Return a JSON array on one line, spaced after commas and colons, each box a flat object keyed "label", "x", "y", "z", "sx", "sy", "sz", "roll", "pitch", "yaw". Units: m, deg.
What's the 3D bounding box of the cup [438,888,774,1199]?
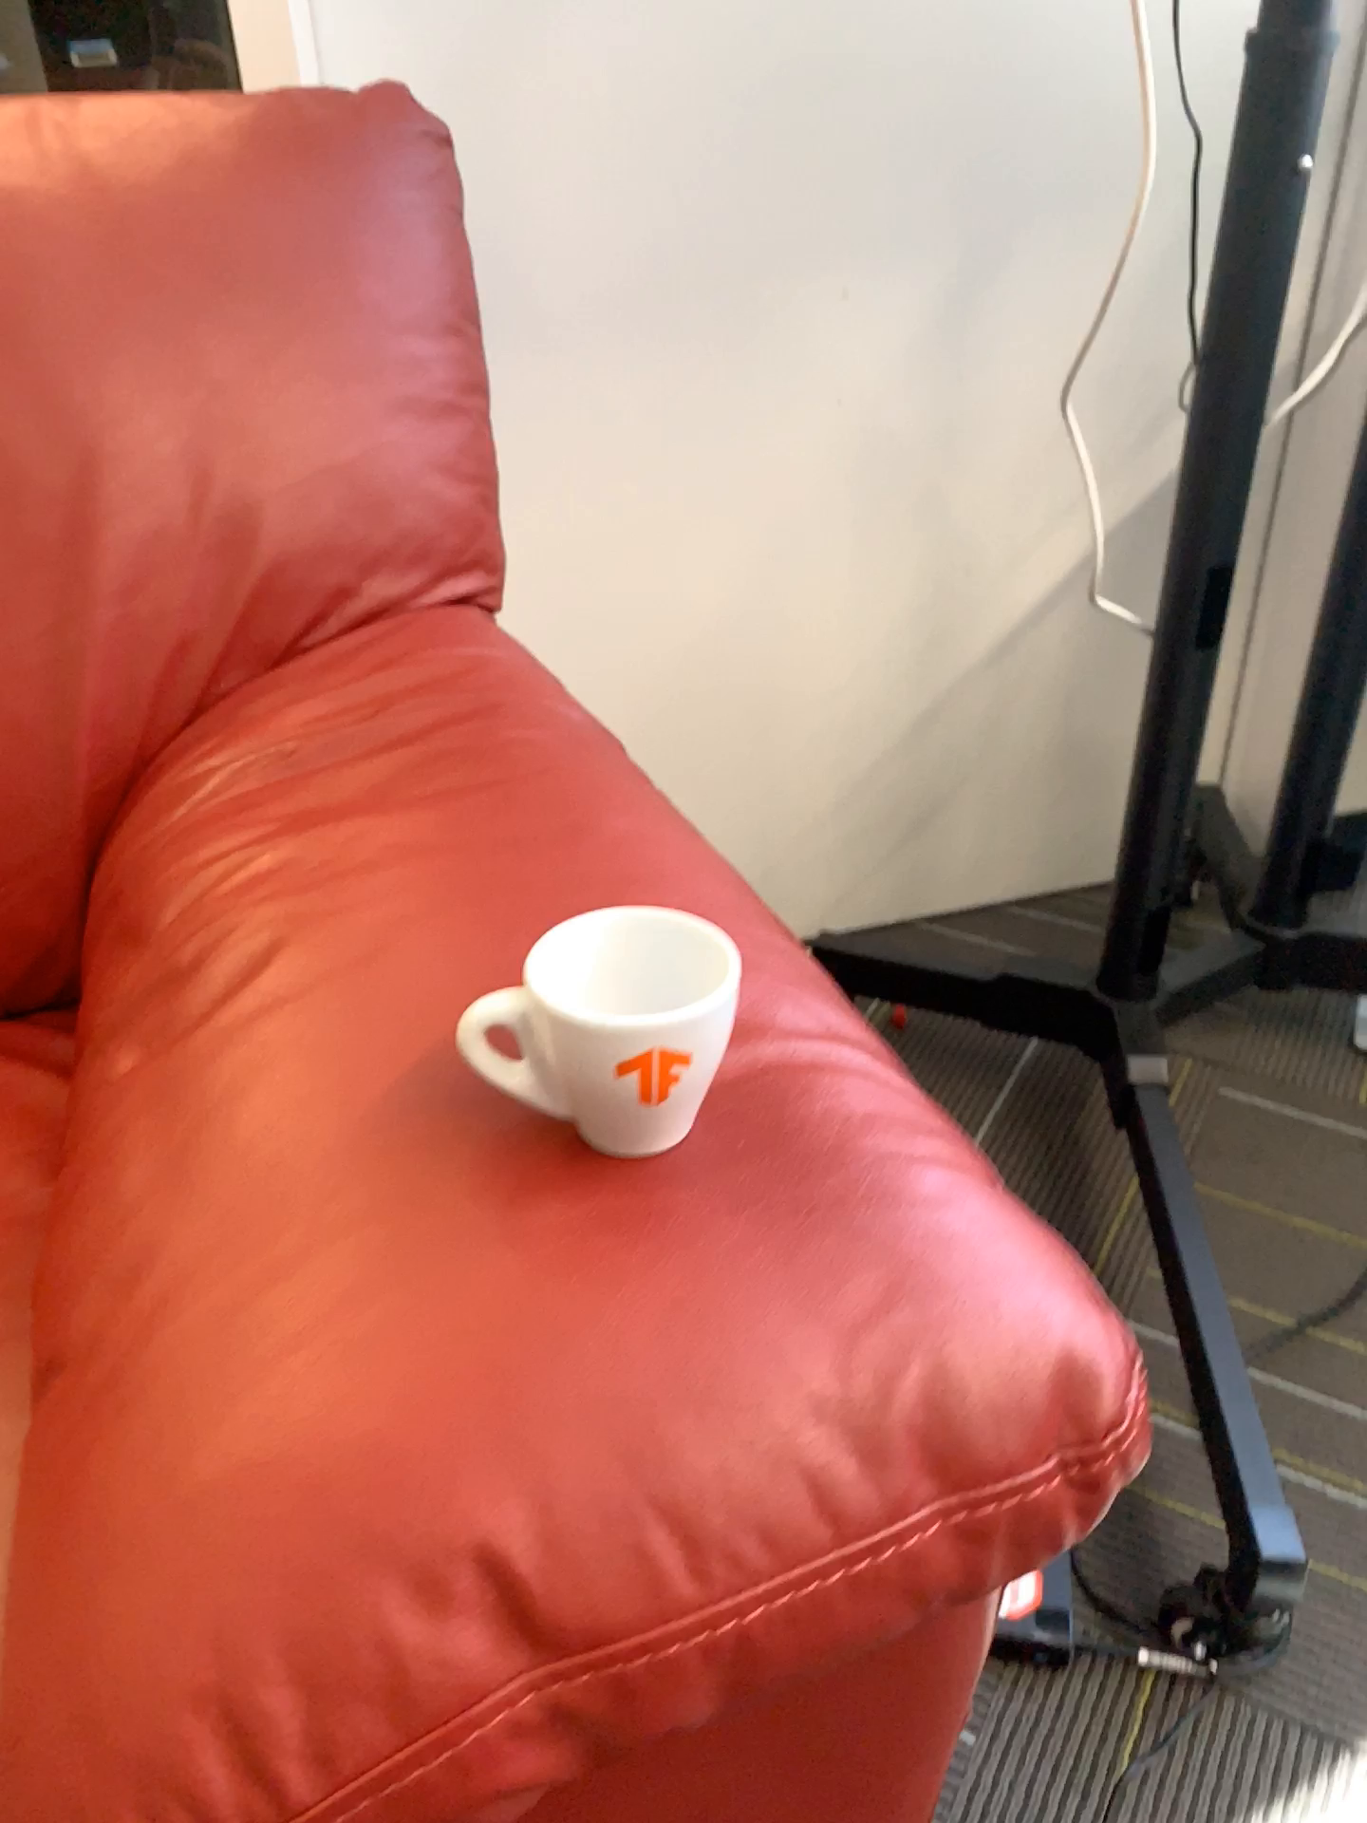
[{"label": "cup", "x": -0.023, "y": 0.038, "z": 0.418, "sx": 0.090, "sy": 0.060, "sz": 0.060, "roll": -5, "pitch": 33, "yaw": -4}]
